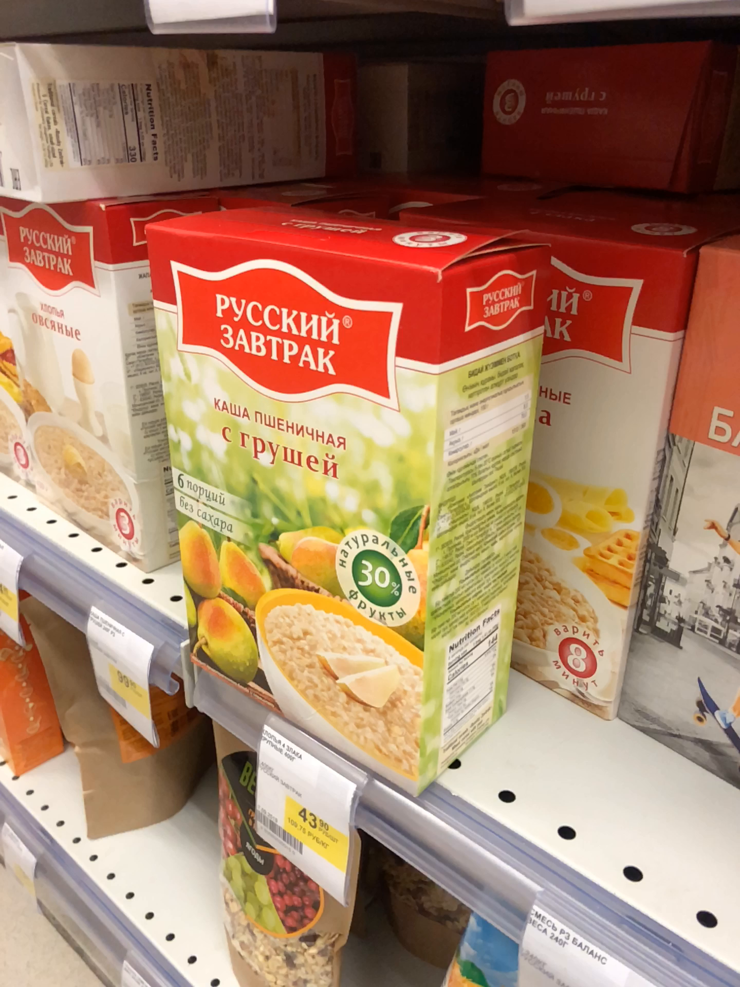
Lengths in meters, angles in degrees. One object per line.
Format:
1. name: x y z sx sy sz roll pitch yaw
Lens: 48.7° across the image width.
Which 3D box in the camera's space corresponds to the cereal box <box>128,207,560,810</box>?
1. cereal box: -0.015 -0.002 0.314 0.140 0.189 0.060 20 31 35
